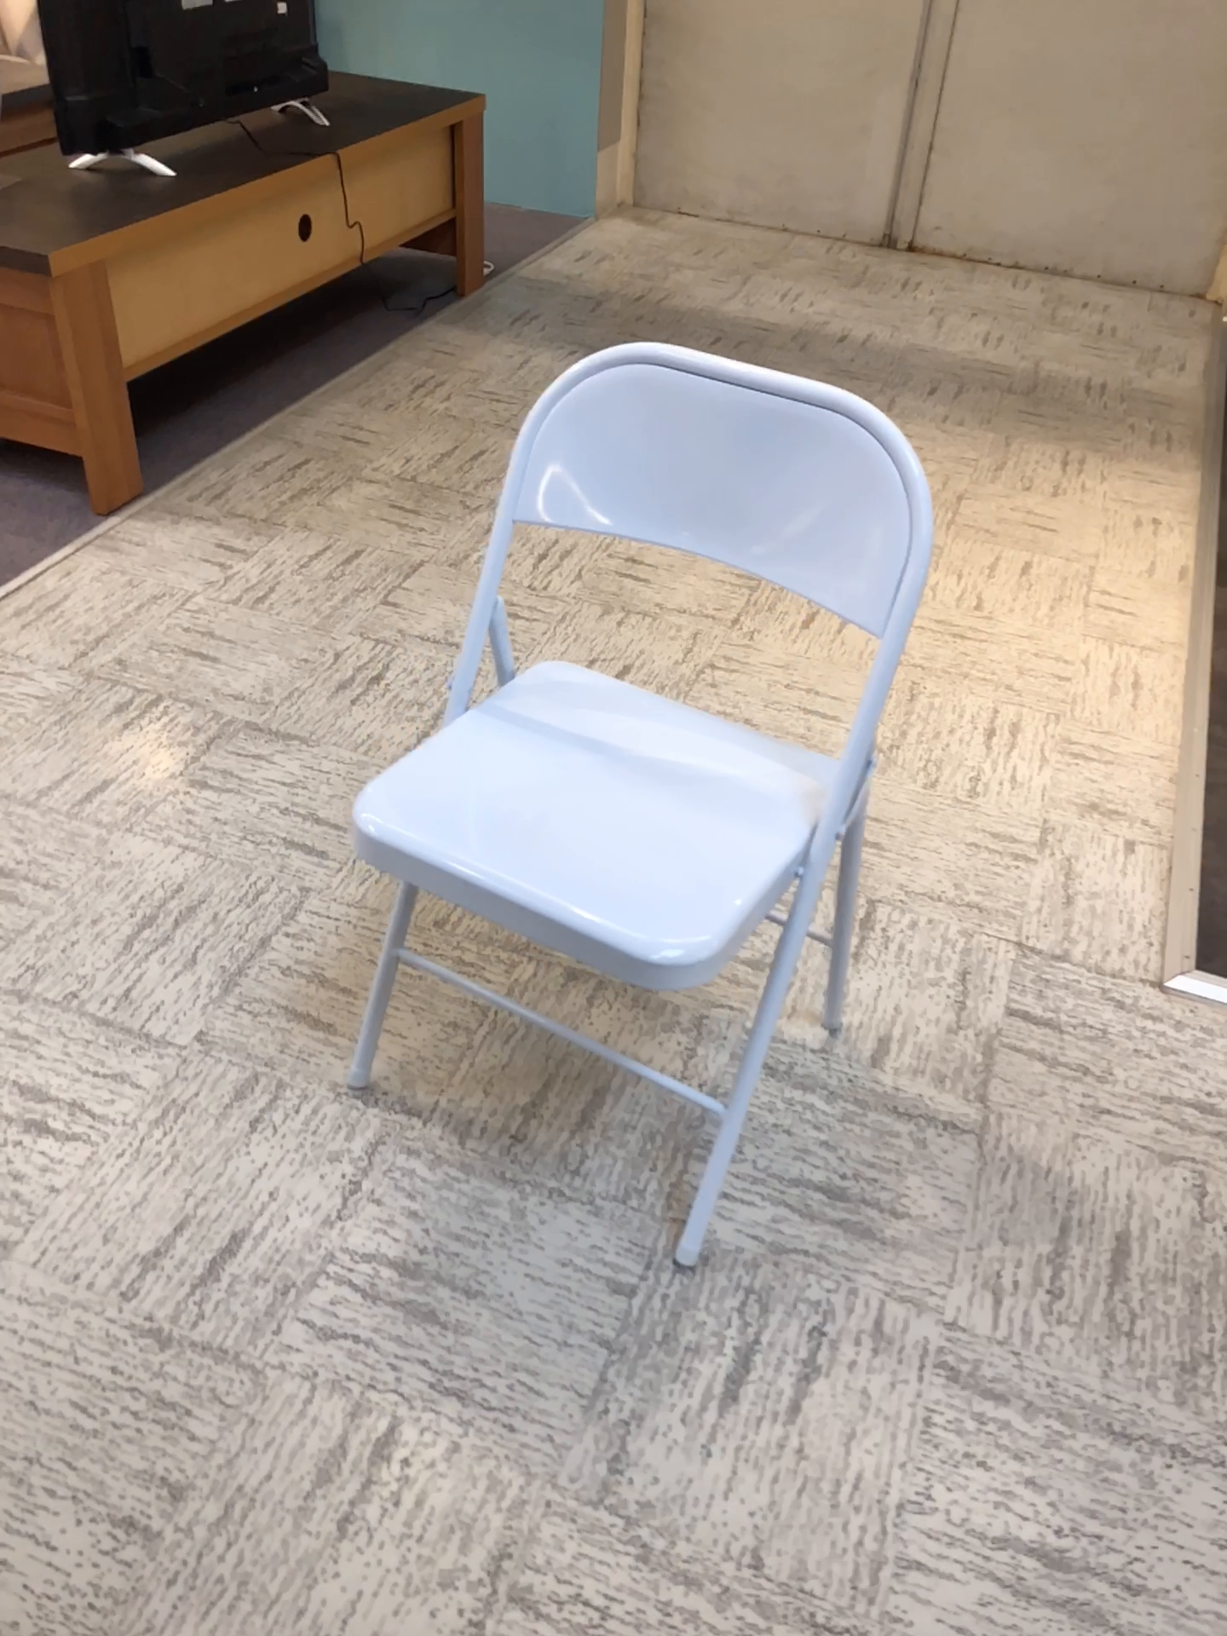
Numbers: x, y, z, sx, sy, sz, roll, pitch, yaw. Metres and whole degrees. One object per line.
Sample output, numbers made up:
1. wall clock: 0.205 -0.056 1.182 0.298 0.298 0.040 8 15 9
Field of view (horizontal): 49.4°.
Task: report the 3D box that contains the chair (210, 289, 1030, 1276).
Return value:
1. chair: 0.008 -0.051 1.325 0.510 0.705 0.483 22 41 21
